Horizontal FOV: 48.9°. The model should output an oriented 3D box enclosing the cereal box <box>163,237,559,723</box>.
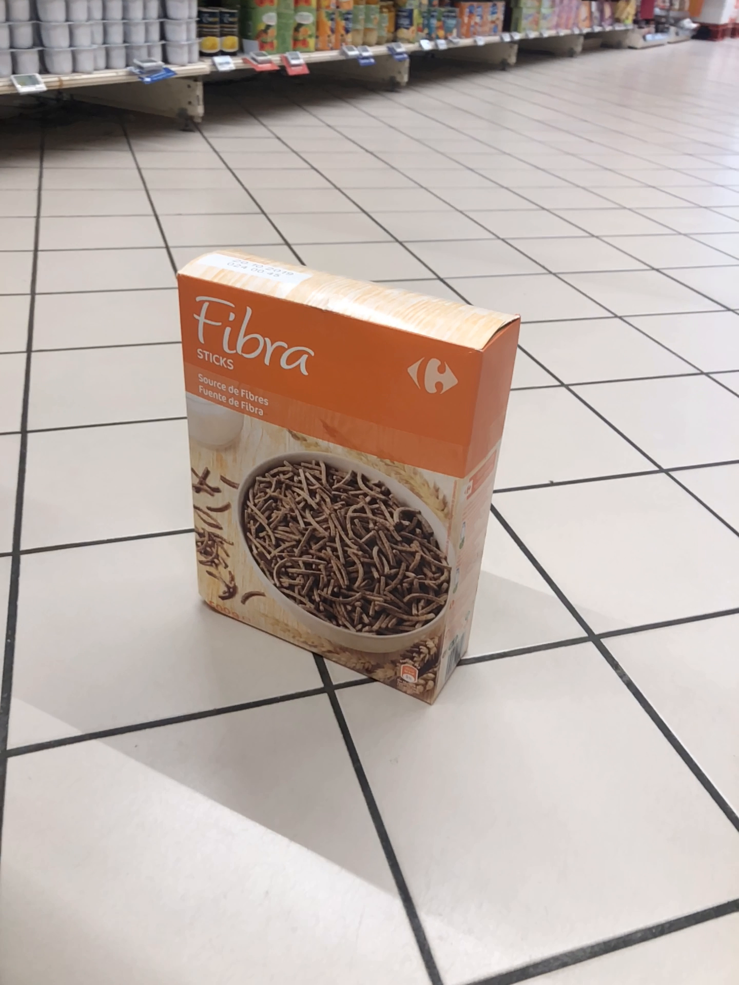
[{"bbox_3d":[-0.014,-0.009,0.500,0.200,0.239,0.081,19,35,22],"label":"cereal box"}]
